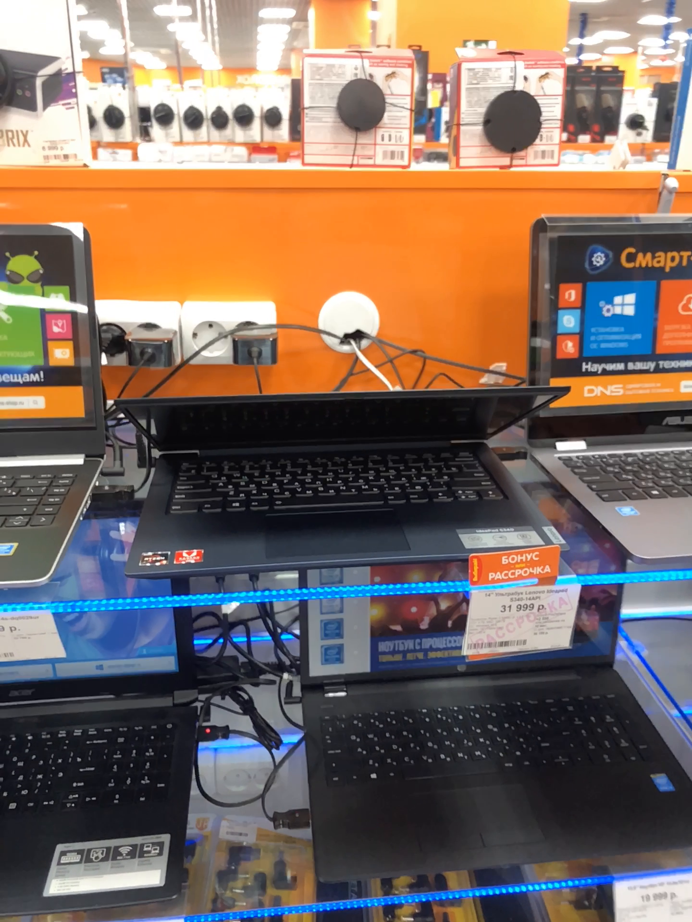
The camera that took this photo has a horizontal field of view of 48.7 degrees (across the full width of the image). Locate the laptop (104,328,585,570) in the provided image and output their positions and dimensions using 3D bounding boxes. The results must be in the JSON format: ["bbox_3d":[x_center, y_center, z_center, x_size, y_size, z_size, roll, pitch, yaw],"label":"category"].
[{"bbox_3d":[-0.009,-0.022,0.593,0.302,0.108,0.204,-3,22,-4],"label":"laptop"}]

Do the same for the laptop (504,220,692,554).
[{"bbox_3d":[0.347,-0.084,0.641,0.330,0.203,0.258,-3,22,-10],"label":"laptop"}]

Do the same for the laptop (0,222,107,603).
[{"bbox_3d":[-0.372,-0.059,0.566,0.302,0.200,0.251,-2,23,-6],"label":"laptop"}]

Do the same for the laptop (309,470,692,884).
[{"bbox_3d":[0.148,0.181,0.728,0.354,0.227,0.259,-3,24,-5],"label":"laptop"}]
